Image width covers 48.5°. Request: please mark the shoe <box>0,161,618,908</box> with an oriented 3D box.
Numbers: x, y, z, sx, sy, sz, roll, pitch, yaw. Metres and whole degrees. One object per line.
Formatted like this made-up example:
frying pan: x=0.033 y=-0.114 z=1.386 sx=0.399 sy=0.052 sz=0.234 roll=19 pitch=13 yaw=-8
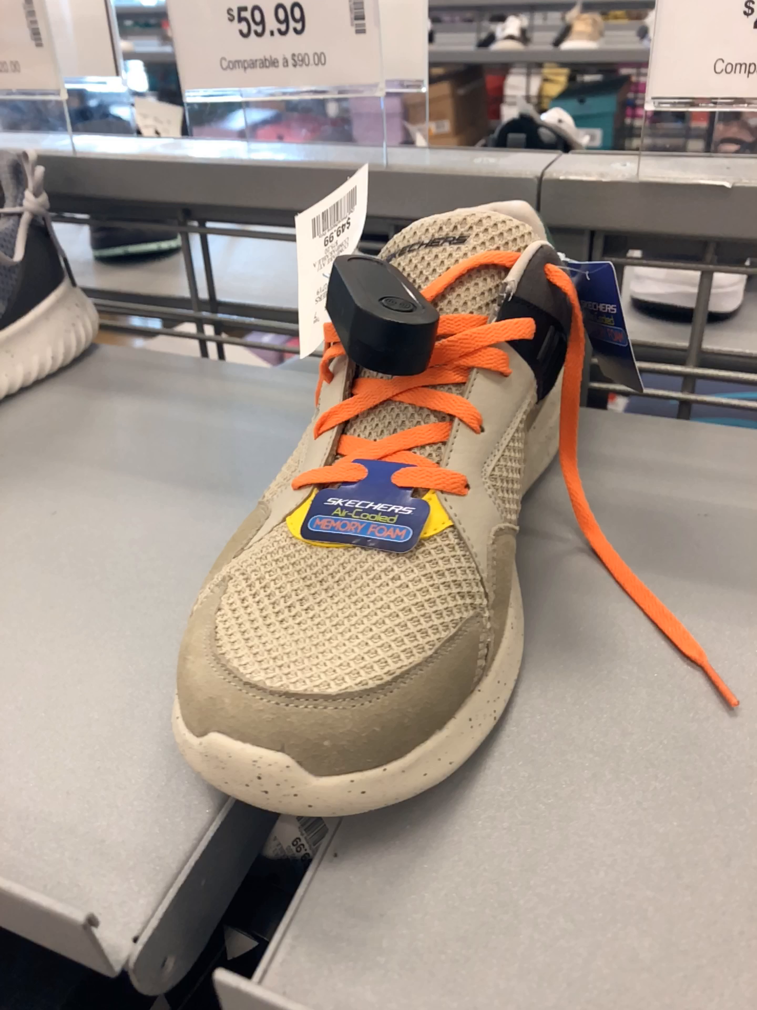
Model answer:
shoe: x=0.004 y=-0.030 z=0.310 sx=0.125 sy=0.109 sz=0.282 roll=9 pitch=38 yaw=17
